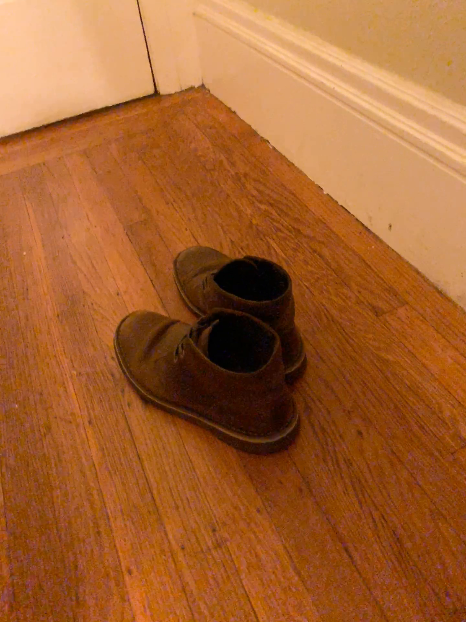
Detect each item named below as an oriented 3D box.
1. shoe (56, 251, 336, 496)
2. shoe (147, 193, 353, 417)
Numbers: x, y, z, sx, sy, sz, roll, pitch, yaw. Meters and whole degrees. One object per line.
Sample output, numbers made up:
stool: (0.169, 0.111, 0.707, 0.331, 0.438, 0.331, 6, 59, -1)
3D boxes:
shoe: (-0.046, 0.059, 0.561, 0.301, 0.119, 0.120, 26, 55, 28)
shoe: (0.012, -0.024, 0.642, 0.120, 0.119, 0.292, -27, 49, -17)
